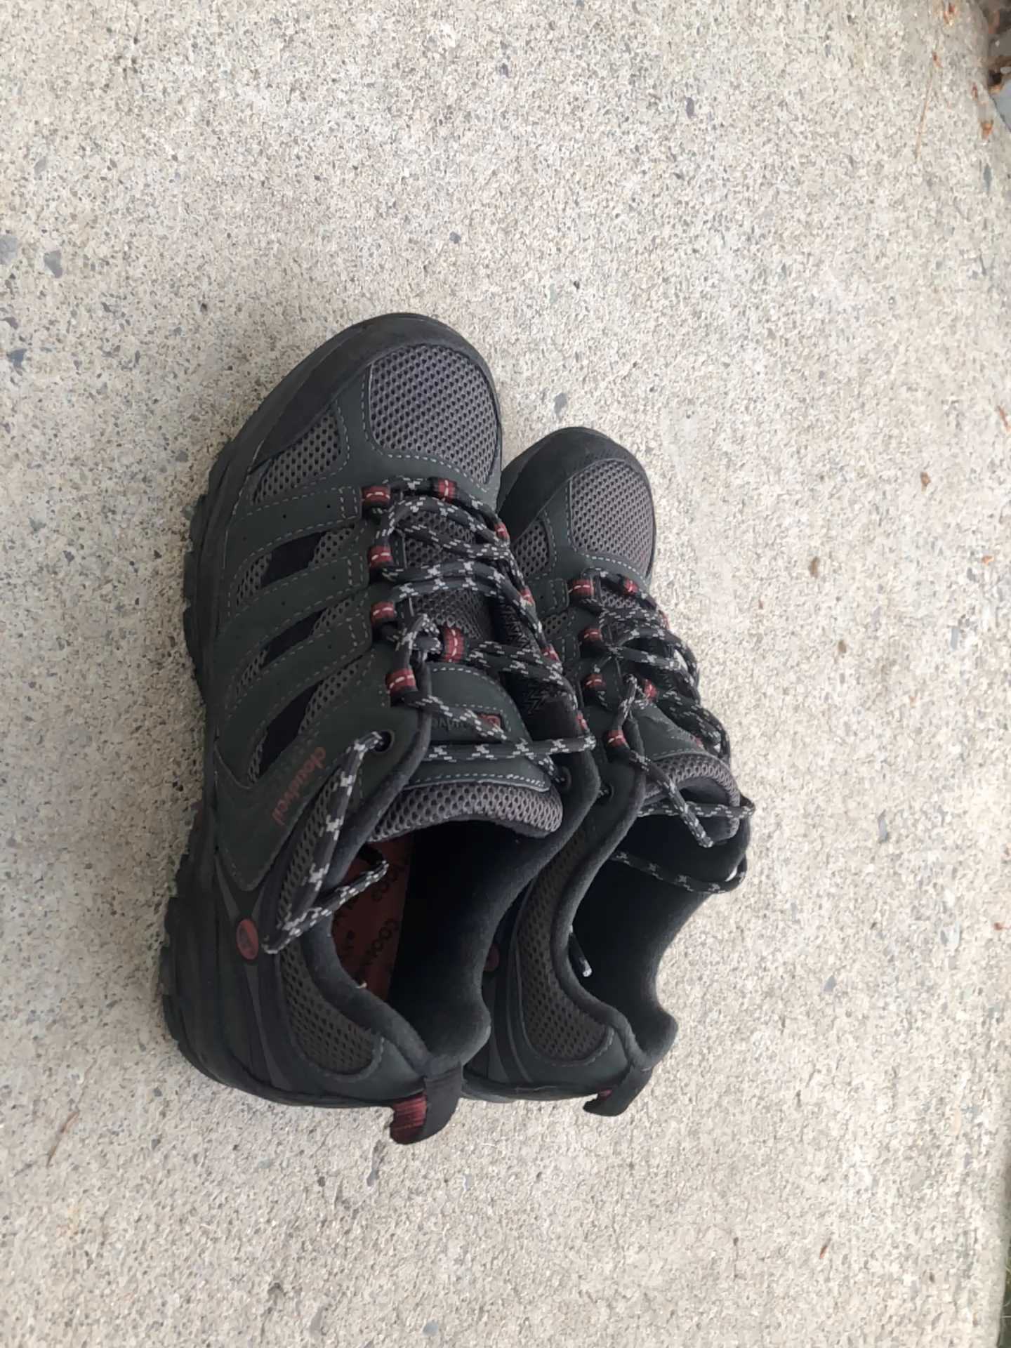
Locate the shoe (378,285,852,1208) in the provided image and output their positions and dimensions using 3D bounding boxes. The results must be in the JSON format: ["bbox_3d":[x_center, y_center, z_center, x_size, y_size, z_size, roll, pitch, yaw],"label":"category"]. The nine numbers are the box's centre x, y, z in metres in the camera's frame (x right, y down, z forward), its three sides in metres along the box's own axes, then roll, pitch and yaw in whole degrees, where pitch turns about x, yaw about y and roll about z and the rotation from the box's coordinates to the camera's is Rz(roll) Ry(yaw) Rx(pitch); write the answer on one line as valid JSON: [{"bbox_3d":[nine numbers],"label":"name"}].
[{"bbox_3d":[0.049,0.026,0.439,0.121,0.109,0.300,14,78,-45],"label":"shoe"}]

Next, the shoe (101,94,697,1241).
[{"bbox_3d":[-0.028,-0.001,0.368,0.121,0.109,0.302,14,78,-45],"label":"shoe"}]
